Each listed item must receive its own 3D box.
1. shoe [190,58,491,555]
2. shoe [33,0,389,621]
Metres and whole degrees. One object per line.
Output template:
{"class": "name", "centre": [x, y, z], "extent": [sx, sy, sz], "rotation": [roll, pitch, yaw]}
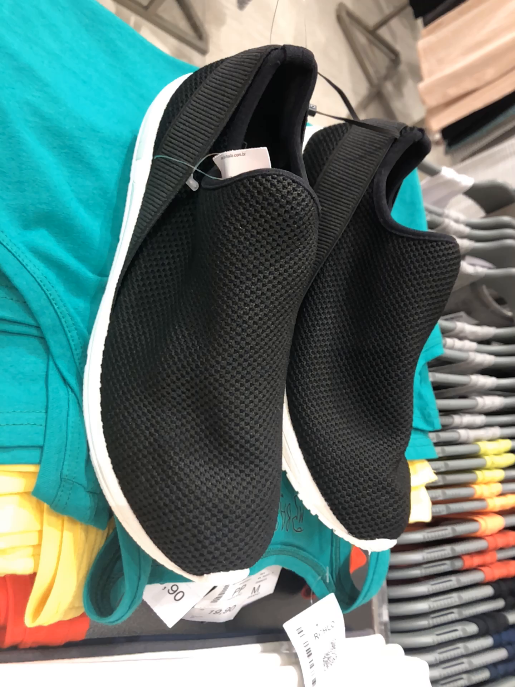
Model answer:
{"class": "shoe", "centre": [0.035, -0.010, 0.330], "extent": [0.090, 0.119, 0.240], "rotation": [13, 67, -40]}
{"class": "shoe", "centre": [-0.024, -0.028, 0.267], "extent": [0.090, 0.119, 0.260], "rotation": [13, 70, -40]}
